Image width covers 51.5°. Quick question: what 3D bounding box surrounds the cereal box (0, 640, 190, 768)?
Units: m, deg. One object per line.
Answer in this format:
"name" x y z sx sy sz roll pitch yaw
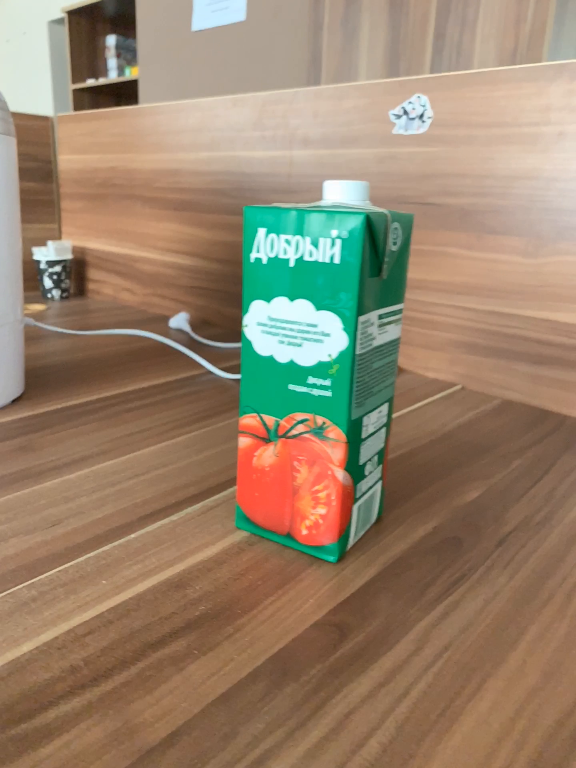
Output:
"cereal box" -0.379 0.643 0.142 0.590 0.837 0.612 3 17 1
